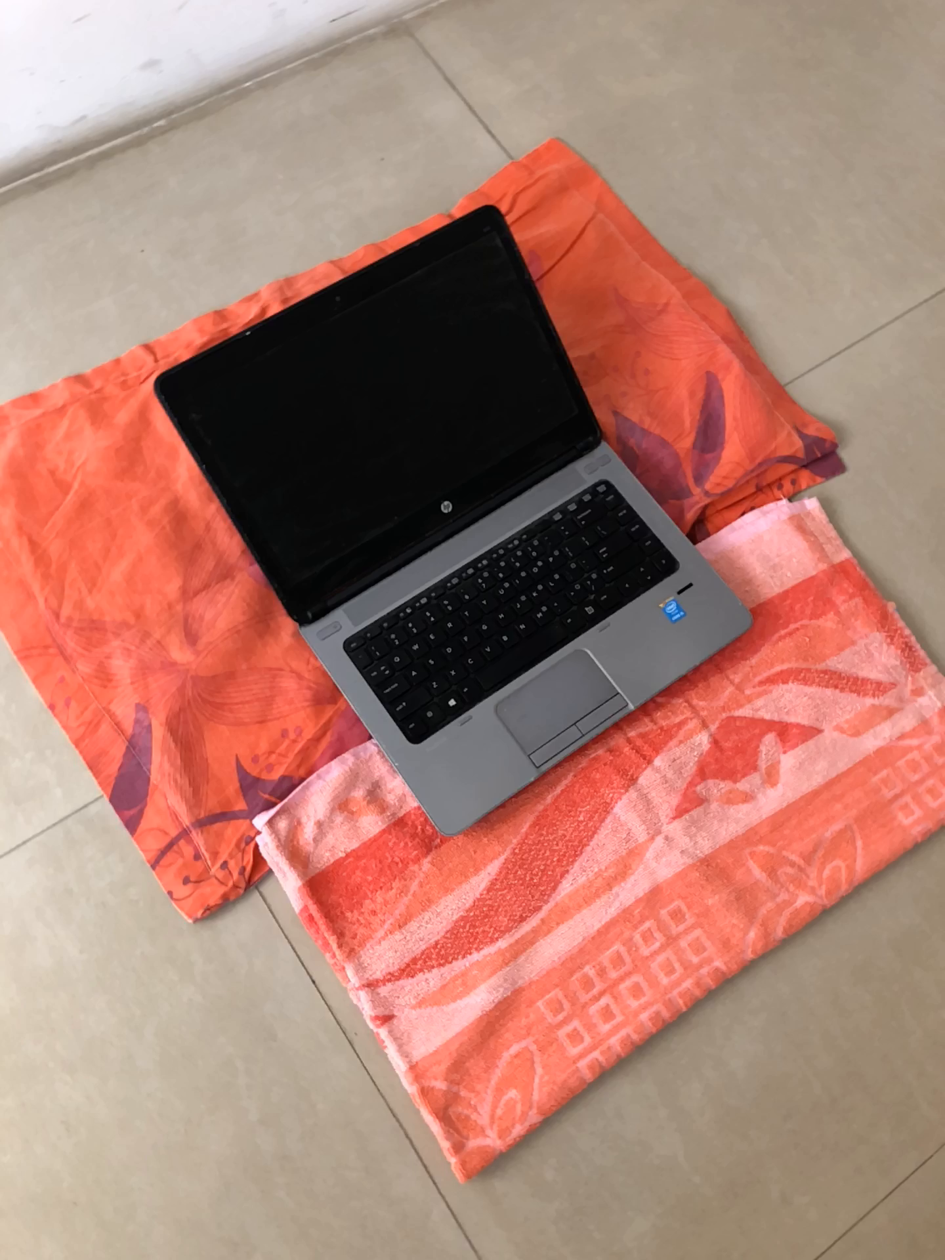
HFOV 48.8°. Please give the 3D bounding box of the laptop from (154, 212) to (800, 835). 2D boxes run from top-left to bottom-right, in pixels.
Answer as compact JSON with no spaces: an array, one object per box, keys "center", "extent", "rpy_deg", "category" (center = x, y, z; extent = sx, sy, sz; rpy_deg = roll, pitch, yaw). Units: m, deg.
[{"center":[-0.004,-0.101,0.862],"extent":[0.329,0.111,0.410],"rpy_deg":[-33,75,-15],"category":"laptop"}]
